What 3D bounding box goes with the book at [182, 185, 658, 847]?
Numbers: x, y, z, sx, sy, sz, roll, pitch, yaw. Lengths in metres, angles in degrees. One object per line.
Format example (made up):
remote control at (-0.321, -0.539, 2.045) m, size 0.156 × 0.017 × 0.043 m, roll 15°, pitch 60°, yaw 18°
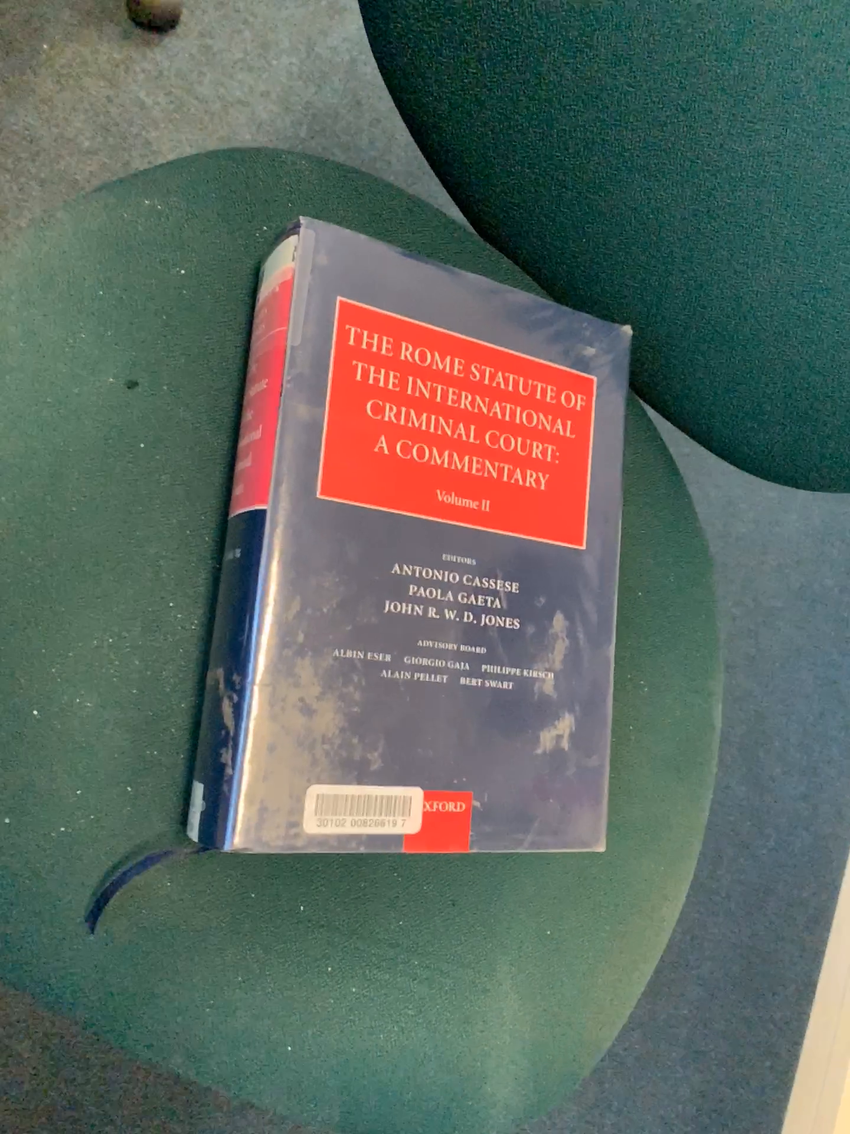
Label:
book at (0.008, -0.010, 0.401) m, size 0.189 × 0.070 × 0.256 m, roll 10°, pitch 79°, yaw -28°
